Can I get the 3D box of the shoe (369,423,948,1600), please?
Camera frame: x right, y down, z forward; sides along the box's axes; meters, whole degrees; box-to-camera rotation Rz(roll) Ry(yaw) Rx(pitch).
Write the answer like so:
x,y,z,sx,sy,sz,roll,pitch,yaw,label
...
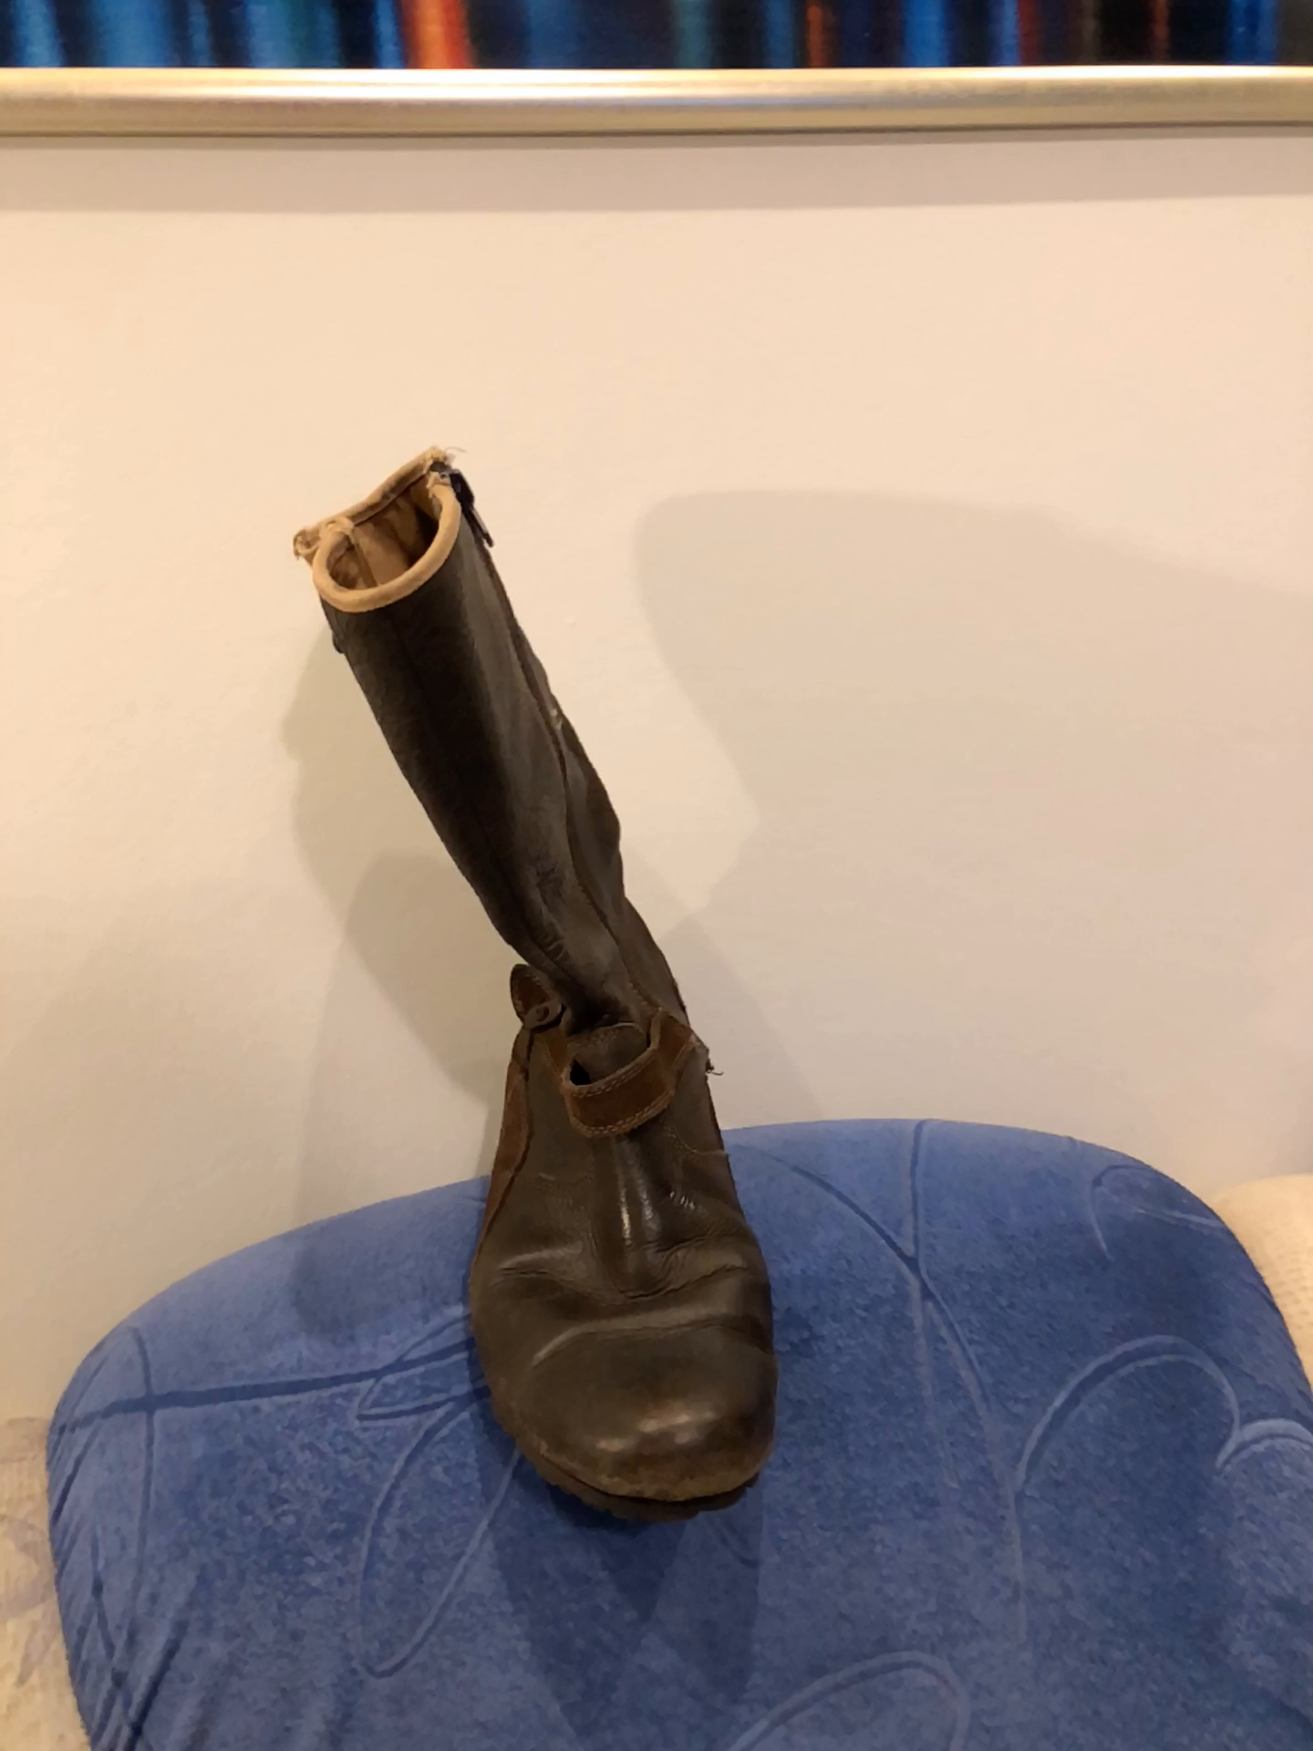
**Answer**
x,y,z,sx,sy,sz,roll,pitch,yaw,label
-0.021,0.026,0.489,0.110,0.278,0.272,-6,33,-11,shoe
